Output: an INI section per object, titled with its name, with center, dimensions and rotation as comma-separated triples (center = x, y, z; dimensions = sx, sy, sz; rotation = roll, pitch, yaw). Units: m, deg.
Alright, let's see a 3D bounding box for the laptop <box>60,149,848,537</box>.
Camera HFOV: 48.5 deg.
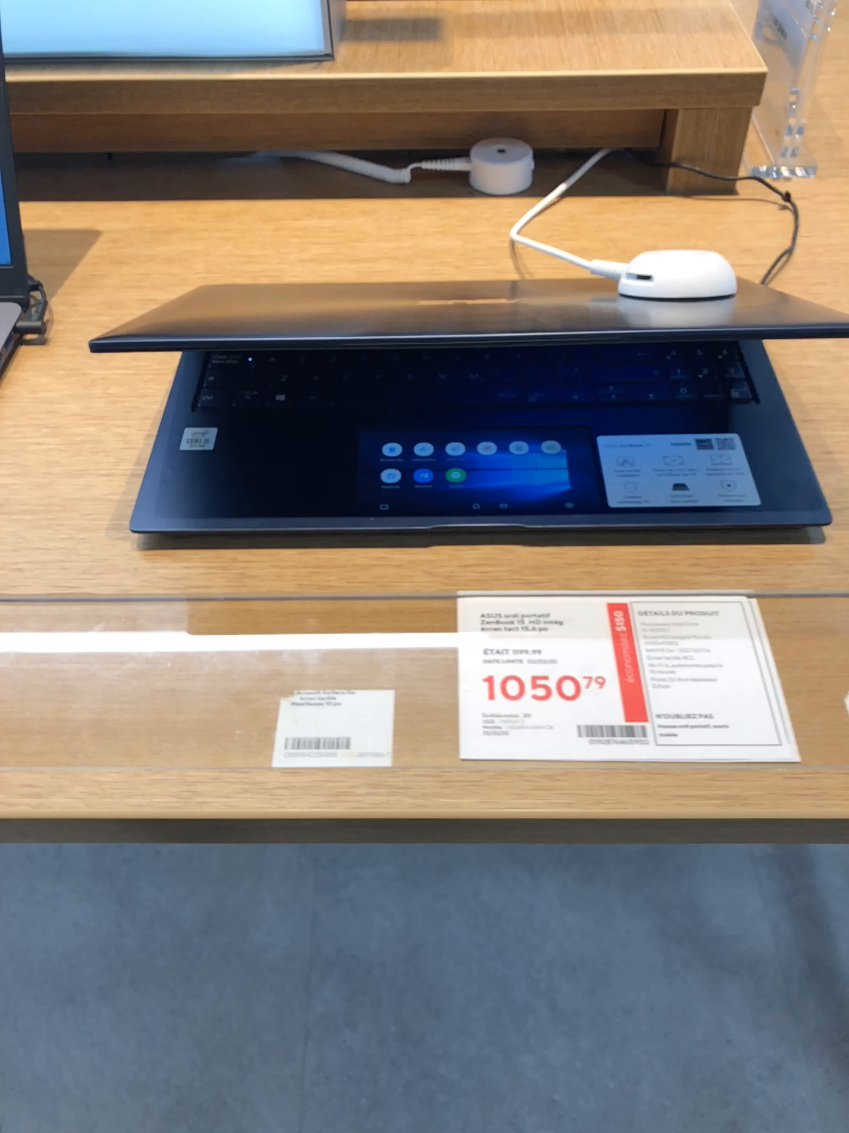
[laptop]
center = 0.025, -0.127, 0.505
dimensions = 0.352, 0.098, 0.209
rotation = -1, 47, 0
